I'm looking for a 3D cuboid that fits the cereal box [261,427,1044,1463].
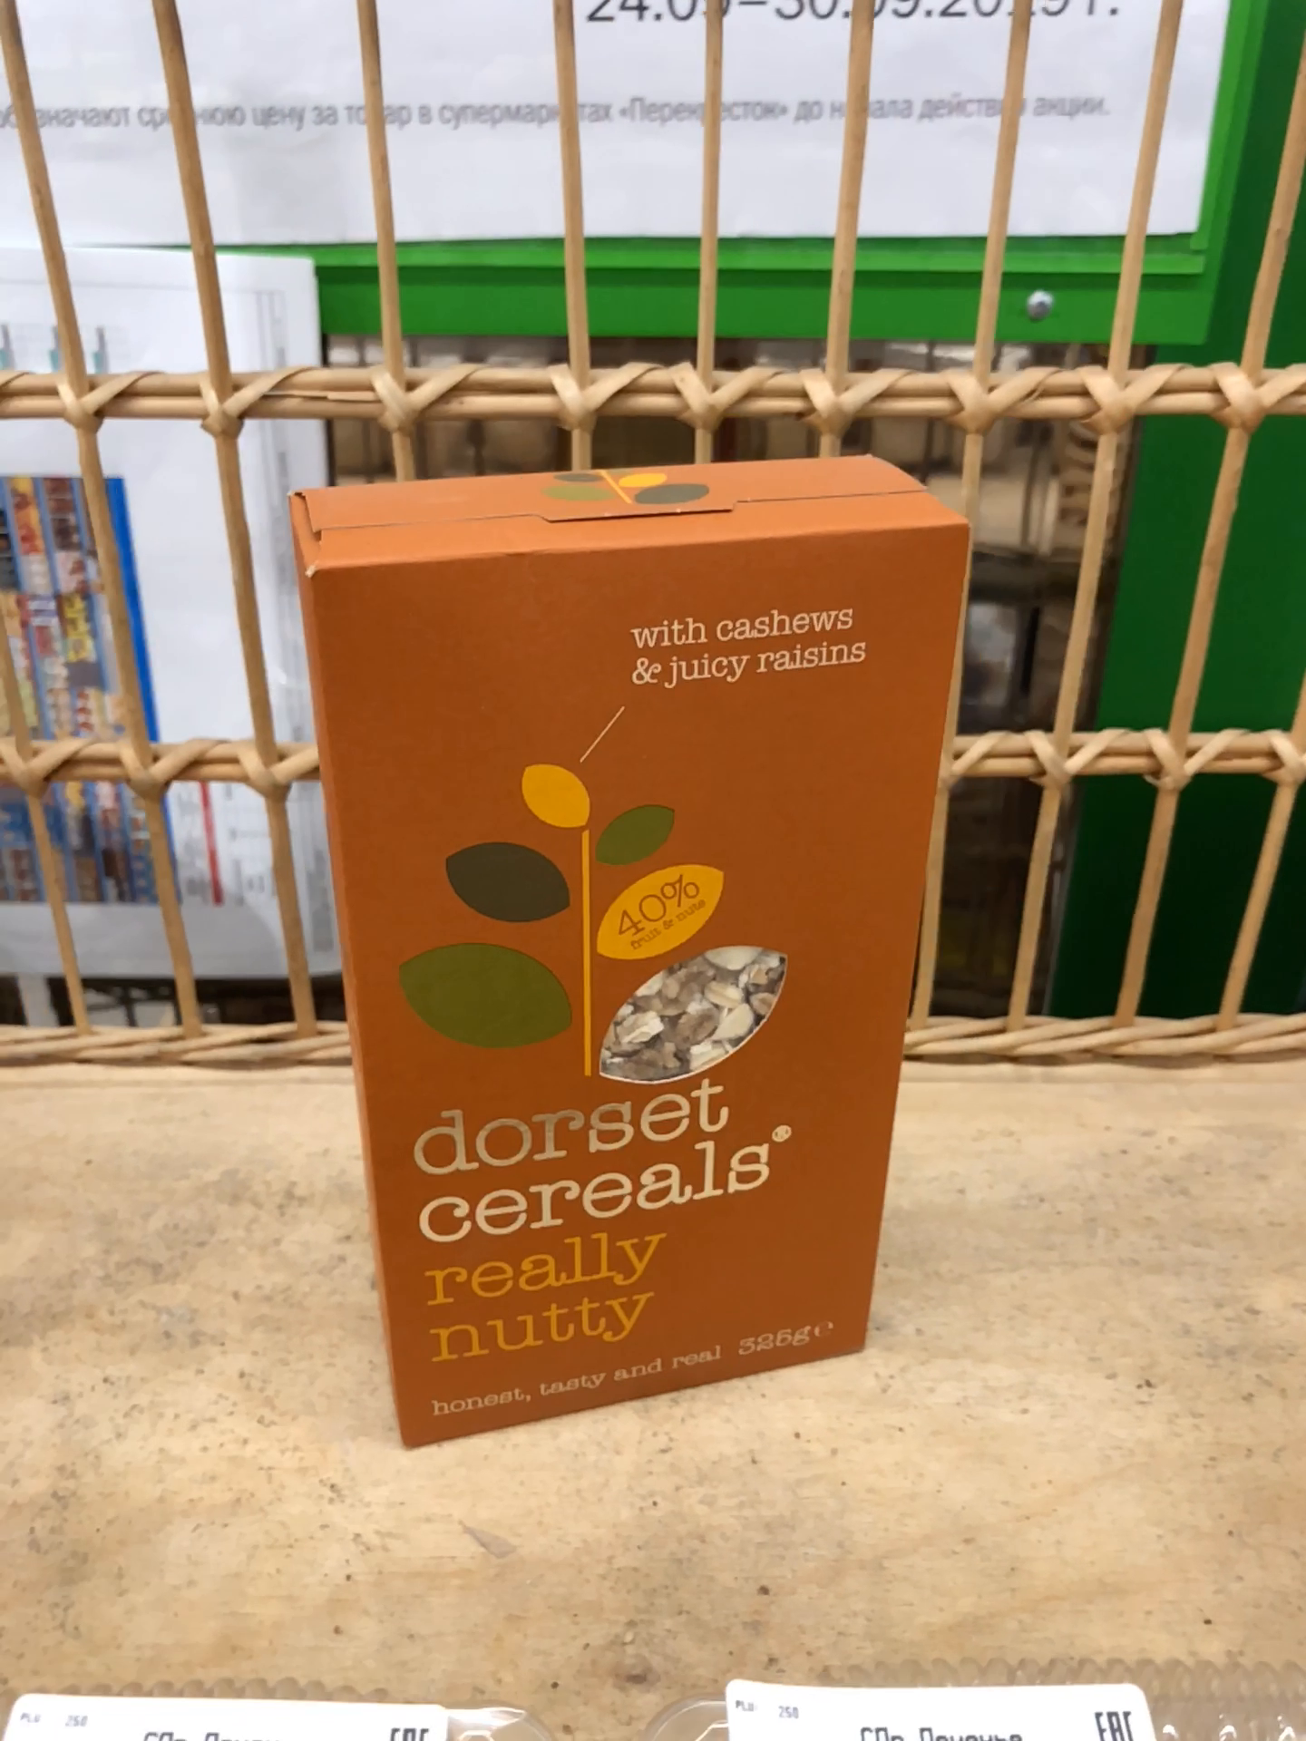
[{"bbox_3d":[-0.003,0.021,0.309,0.130,0.209,0.050,-7,31,-14],"label":"cereal box"}]
